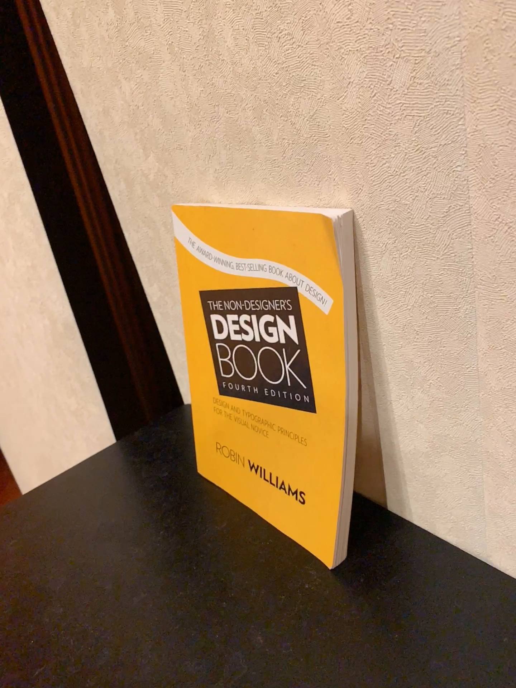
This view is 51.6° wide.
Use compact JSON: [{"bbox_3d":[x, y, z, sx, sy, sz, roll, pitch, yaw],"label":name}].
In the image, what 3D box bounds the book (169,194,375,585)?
[{"bbox_3d":[0.002,0.020,0.413,0.030,0.259,0.191,-15,22,-35],"label":"book"}]
